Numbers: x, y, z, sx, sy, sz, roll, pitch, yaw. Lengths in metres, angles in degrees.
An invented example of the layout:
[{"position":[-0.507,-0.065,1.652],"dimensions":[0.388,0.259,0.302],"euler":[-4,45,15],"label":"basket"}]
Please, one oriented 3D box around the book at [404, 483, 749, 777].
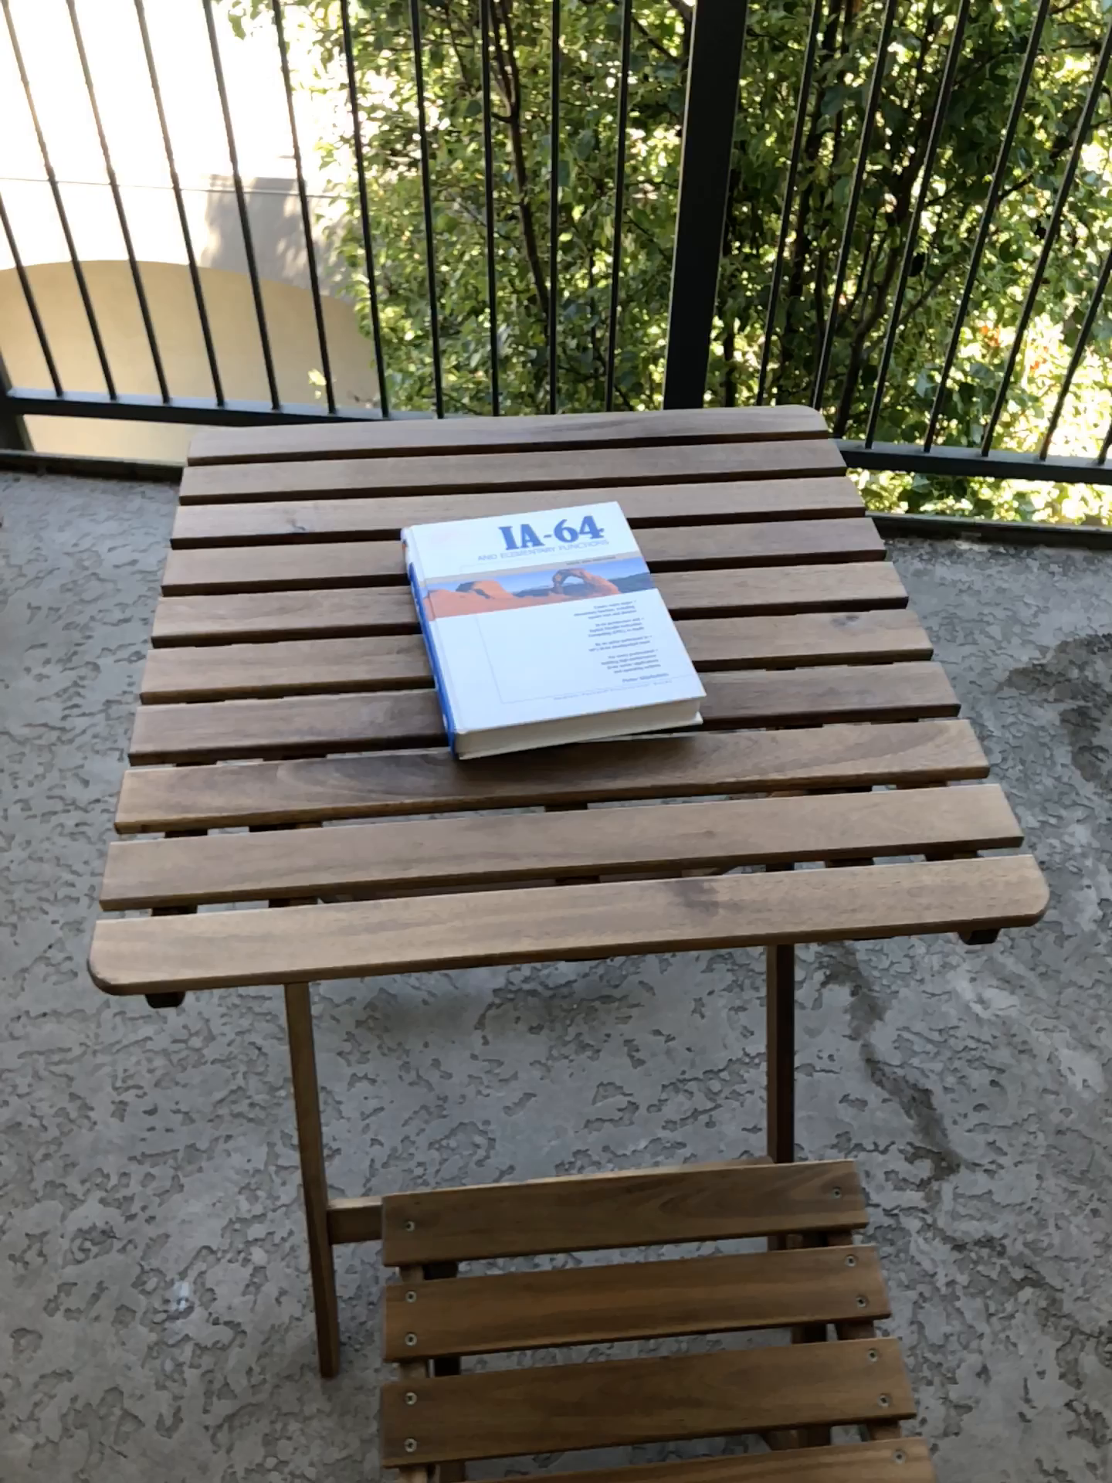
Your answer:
[{"position":[0.005,-0.093,0.911],"dimensions":[0.200,0.040,0.251],"euler":[-8,46,-9],"label":"book"}]
